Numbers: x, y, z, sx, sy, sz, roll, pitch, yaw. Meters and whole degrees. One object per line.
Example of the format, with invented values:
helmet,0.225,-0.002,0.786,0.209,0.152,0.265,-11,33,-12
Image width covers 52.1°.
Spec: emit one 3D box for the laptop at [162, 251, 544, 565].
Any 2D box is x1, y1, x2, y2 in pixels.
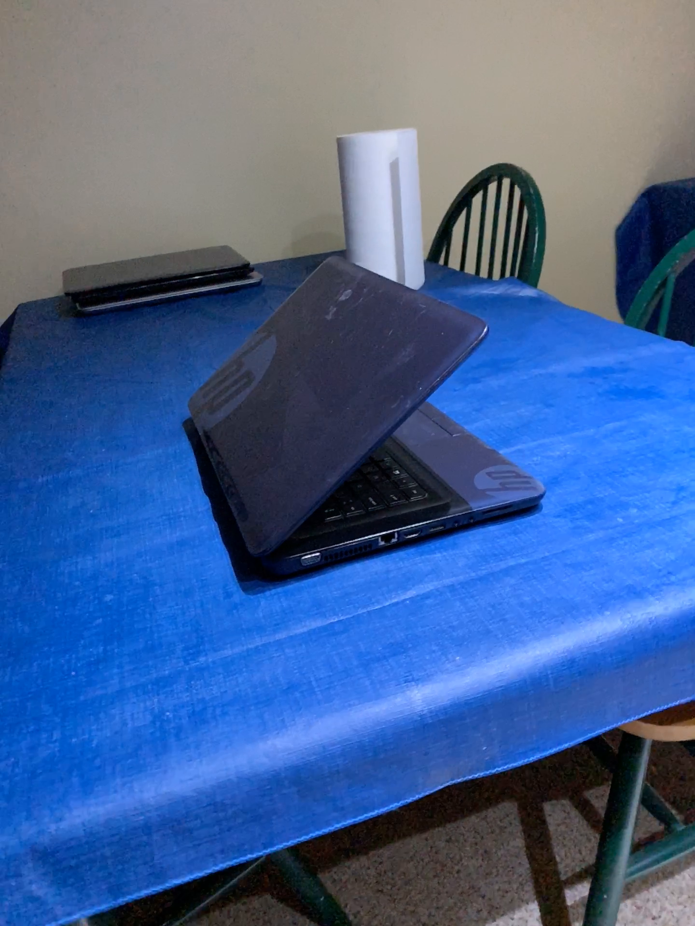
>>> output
laptop,-0.021,-0.088,0.674,0.239,0.141,0.365,-13,27,-16
